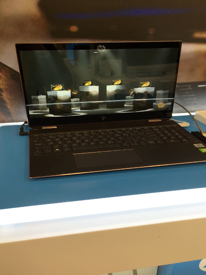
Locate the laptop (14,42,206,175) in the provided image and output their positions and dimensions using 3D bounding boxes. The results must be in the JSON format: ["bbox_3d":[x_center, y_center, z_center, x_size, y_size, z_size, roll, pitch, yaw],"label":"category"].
[{"bbox_3d":[0.038,-0.086,0.588,0.389,0.211,0.257,-5,27,-10],"label":"laptop"}]
